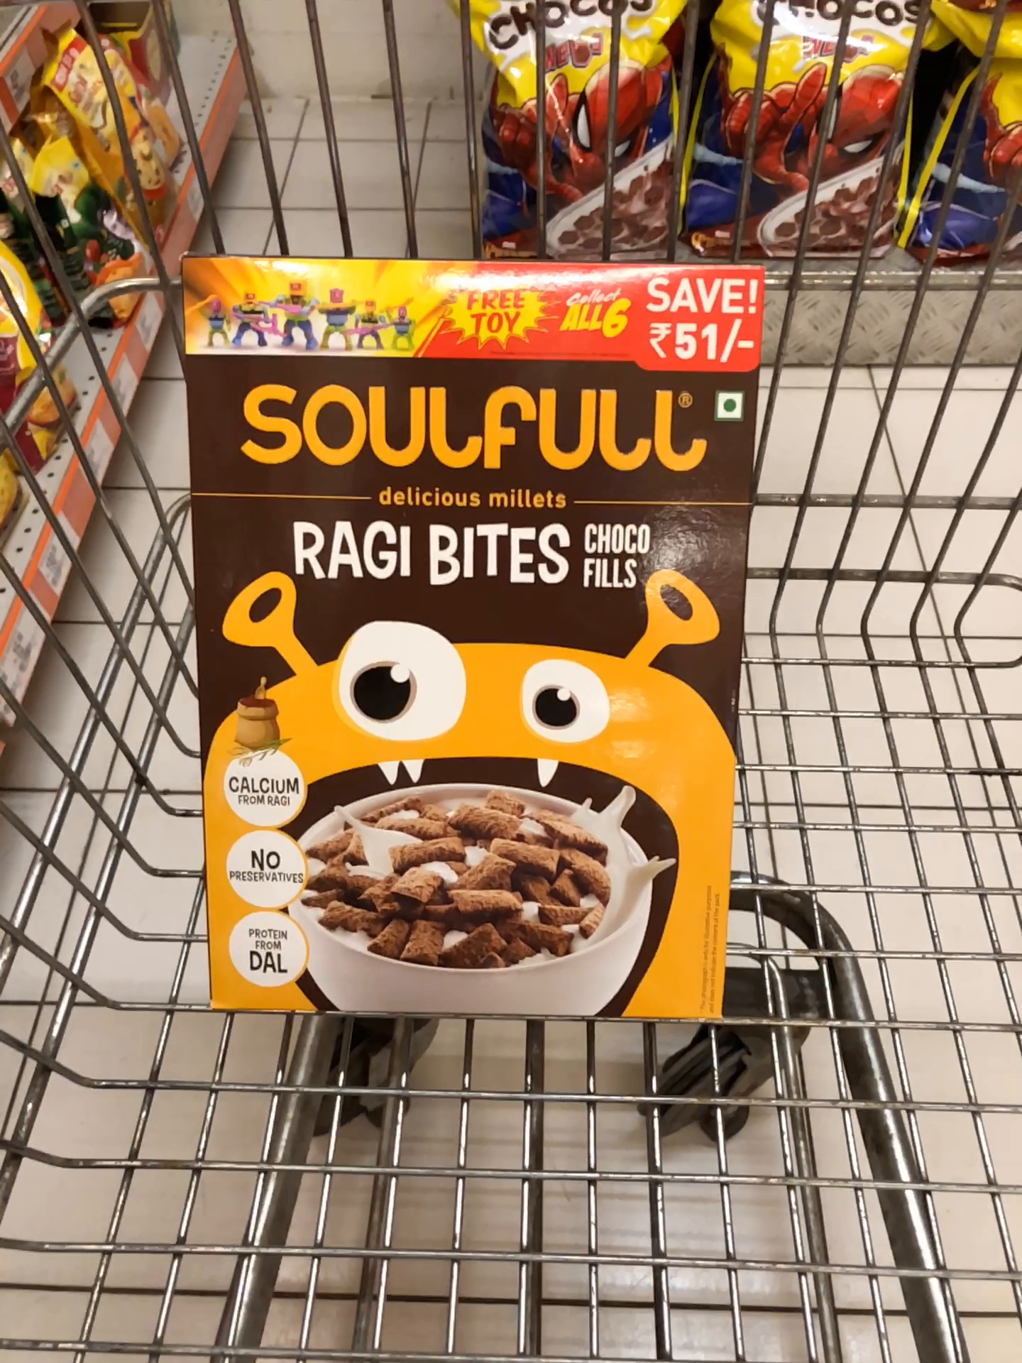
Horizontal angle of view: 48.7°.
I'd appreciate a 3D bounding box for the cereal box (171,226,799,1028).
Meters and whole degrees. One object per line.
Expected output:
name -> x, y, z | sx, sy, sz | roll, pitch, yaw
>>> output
cereal box -> -0.010, -0.017, 0.401 | 0.190, 0.259, 0.070 | 1, 12, 2
